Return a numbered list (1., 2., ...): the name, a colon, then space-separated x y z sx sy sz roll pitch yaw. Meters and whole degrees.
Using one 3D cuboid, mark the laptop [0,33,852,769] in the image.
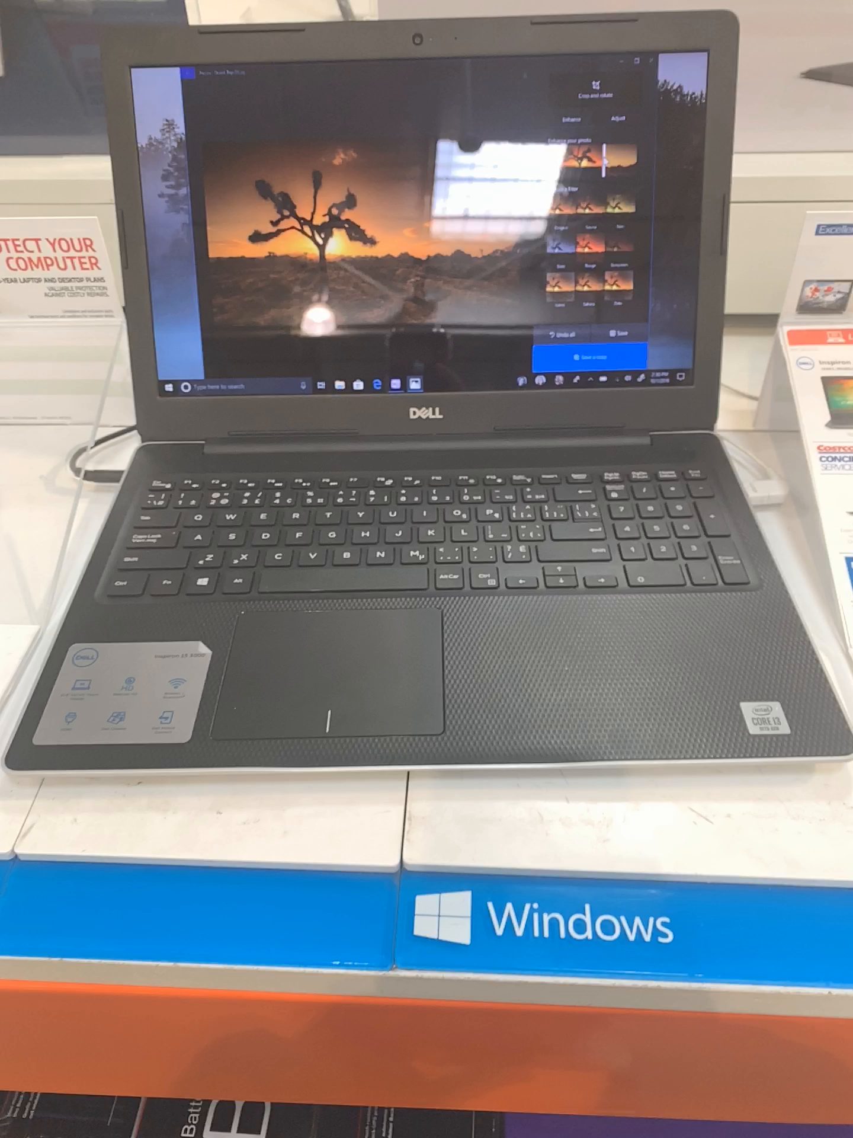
1. laptop: 0.002 -0.109 0.430 0.357 0.205 0.344 -1 41 0
